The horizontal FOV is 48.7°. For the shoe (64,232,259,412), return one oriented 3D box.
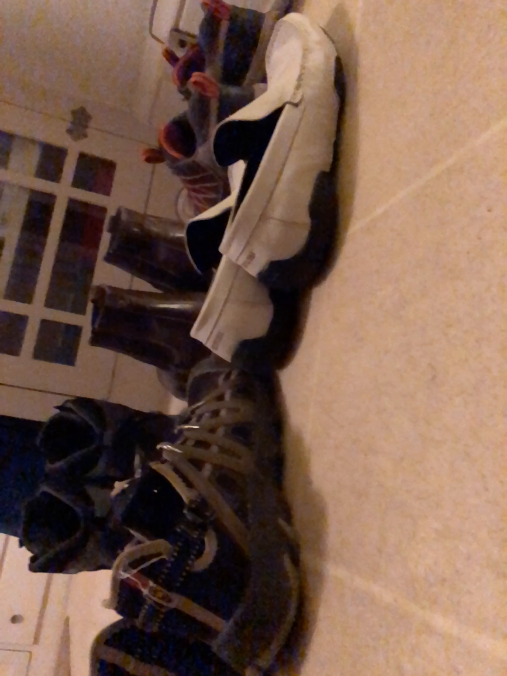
[{"bbox_3d":[-0.143,0.002,0.762,0.324,0.192,0.110,139,141,-64],"label":"shoe"}]

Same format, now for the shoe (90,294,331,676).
[{"bbox_3d":[-0.045,0.097,0.468,0.294,0.123,0.110,-101,28,-55],"label":"shoe"}]

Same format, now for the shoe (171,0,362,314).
[{"bbox_3d":[0.014,-0.190,0.497,0.110,0.113,0.304,128,150,-57],"label":"shoe"}]

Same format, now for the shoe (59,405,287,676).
[{"bbox_3d":[-0.078,0.191,0.495,0.294,0.123,0.110,-113,39,-64],"label":"shoe"}]

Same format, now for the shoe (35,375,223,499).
[{"bbox_3d":[-0.187,0.147,0.791,0.324,0.192,0.110,147,133,-68],"label":"shoe"}]

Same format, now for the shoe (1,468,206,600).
[{"bbox_3d":[-0.203,0.257,0.737,0.324,0.192,0.110,137,143,-63],"label":"shoe"}]

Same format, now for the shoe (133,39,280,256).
[{"bbox_3d":[-0.079,-0.233,0.769,0.314,0.113,0.110,144,136,-67],"label":"shoe"}]

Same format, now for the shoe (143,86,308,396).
[{"bbox_3d":[-0.027,-0.109,0.570,0.110,0.113,0.304,121,156,-48],"label":"shoe"}]

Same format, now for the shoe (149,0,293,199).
[{"bbox_3d":[-0.062,-0.335,0.806,0.314,0.113,0.110,144,136,-67],"label":"shoe"}]

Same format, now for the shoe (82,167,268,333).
[{"bbox_3d":[-0.131,-0.099,0.792,0.324,0.192,0.110,161,121,-72],"label":"shoe"}]
